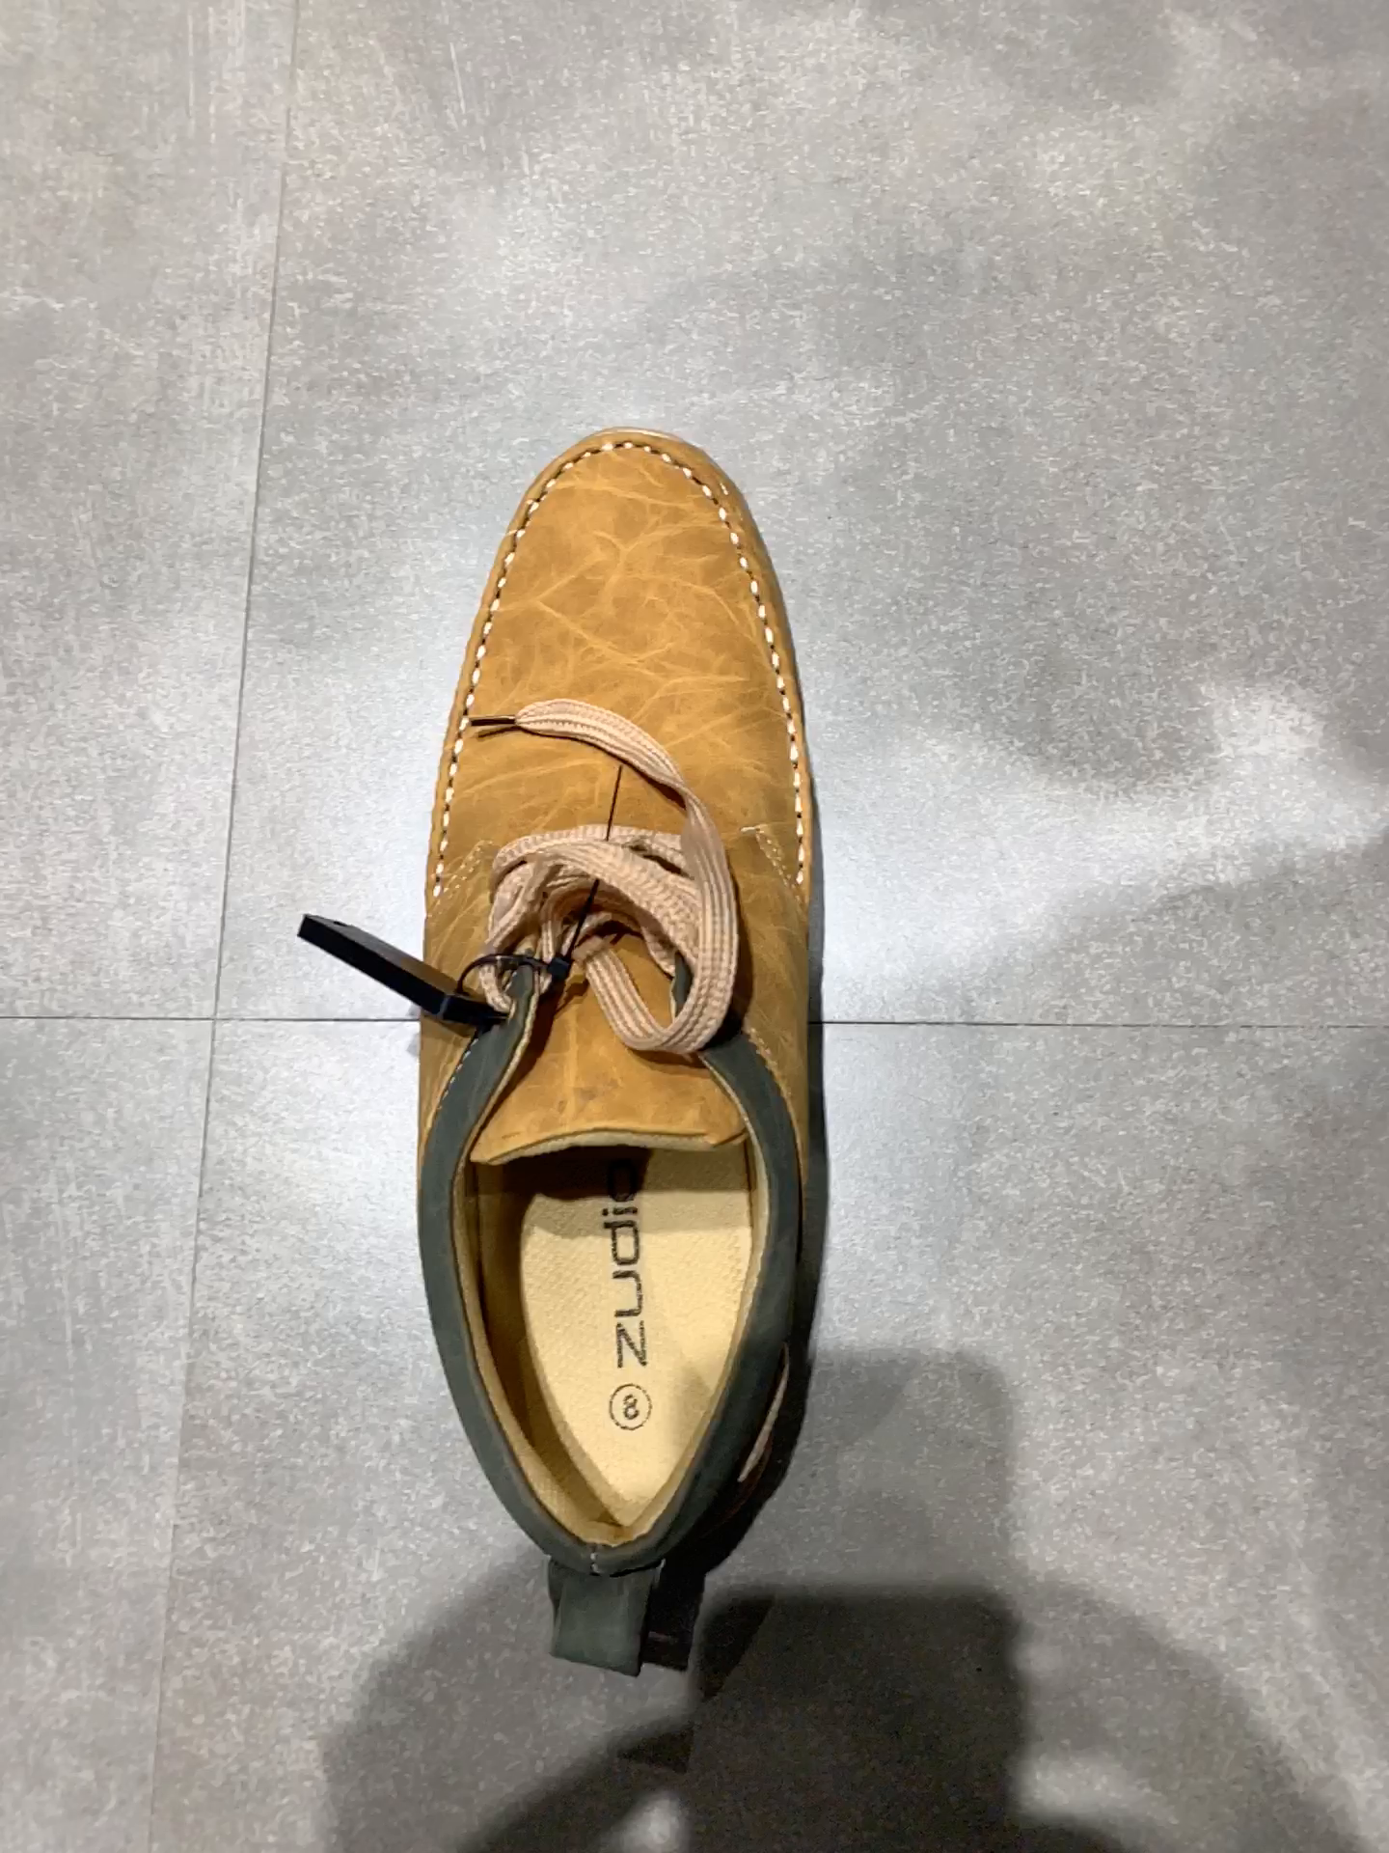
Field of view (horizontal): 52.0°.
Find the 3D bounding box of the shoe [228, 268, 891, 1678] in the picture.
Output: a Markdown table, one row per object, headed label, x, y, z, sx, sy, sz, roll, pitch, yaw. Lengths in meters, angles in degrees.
| label | x | y | z | sx | sy | sz | roll | pitch | yaw |
| --- | --- | --- | --- | --- | --- | --- | --- | --- | --- |
| shoe | -0.024 | 0.008 | 0.324 | 0.111 | 0.117 | 0.267 | -2 | 77 | 2 |
